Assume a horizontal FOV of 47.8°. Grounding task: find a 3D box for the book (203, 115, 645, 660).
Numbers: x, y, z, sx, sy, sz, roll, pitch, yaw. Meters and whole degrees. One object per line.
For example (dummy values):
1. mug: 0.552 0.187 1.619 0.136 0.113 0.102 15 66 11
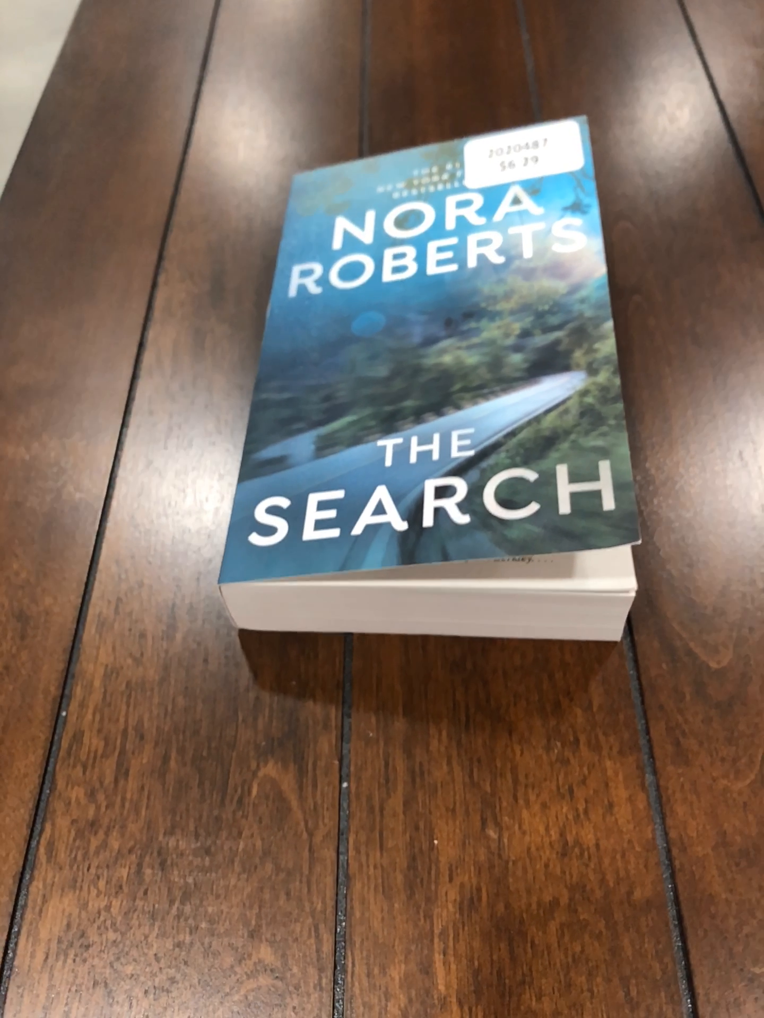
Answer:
1. book: 0.019 -0.043 0.274 0.108 0.050 0.170 -5 55 14
